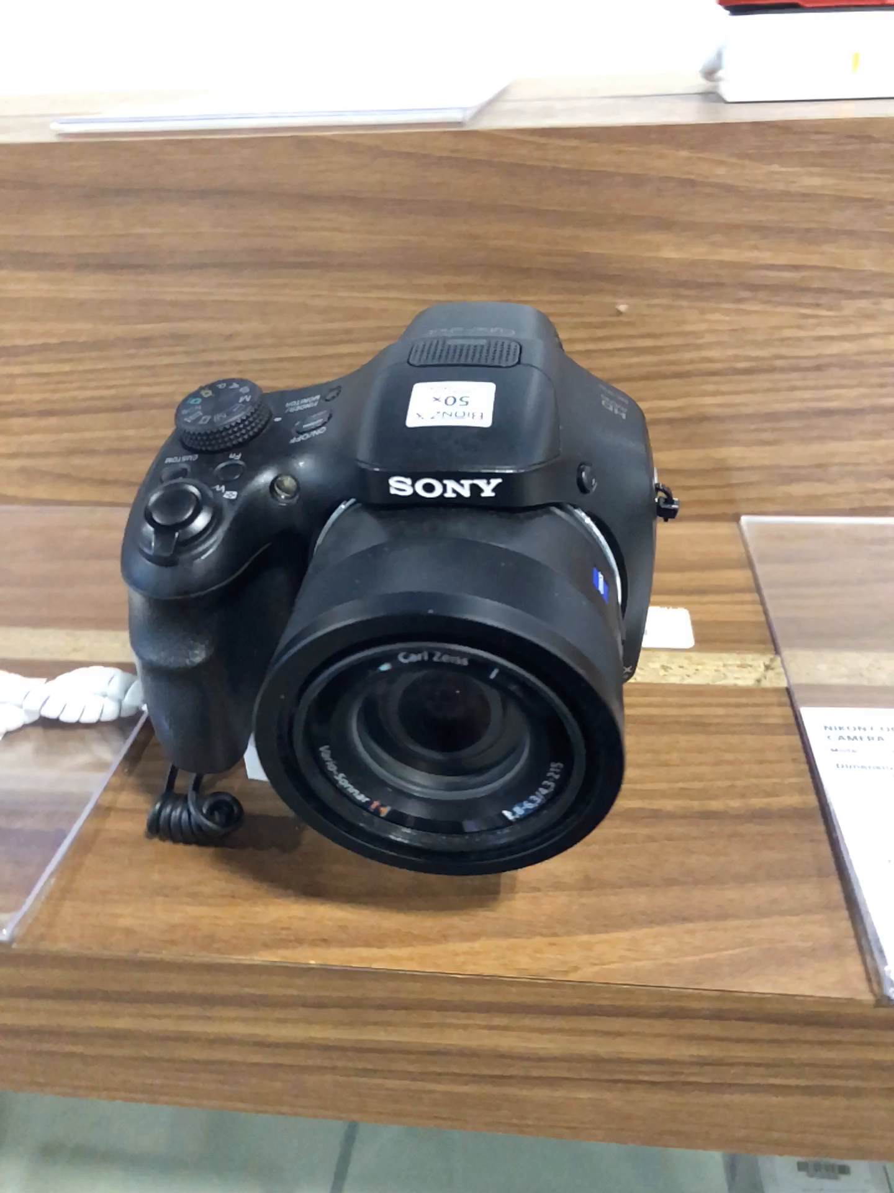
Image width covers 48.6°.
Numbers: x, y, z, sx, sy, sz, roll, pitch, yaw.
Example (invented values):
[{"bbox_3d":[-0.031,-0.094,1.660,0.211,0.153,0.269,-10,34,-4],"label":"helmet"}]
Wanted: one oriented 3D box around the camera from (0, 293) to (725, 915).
[{"bbox_3d":[-0.012,-0.006,0.239,0.130,0.089,0.121,1,37,7],"label":"camera"}]
